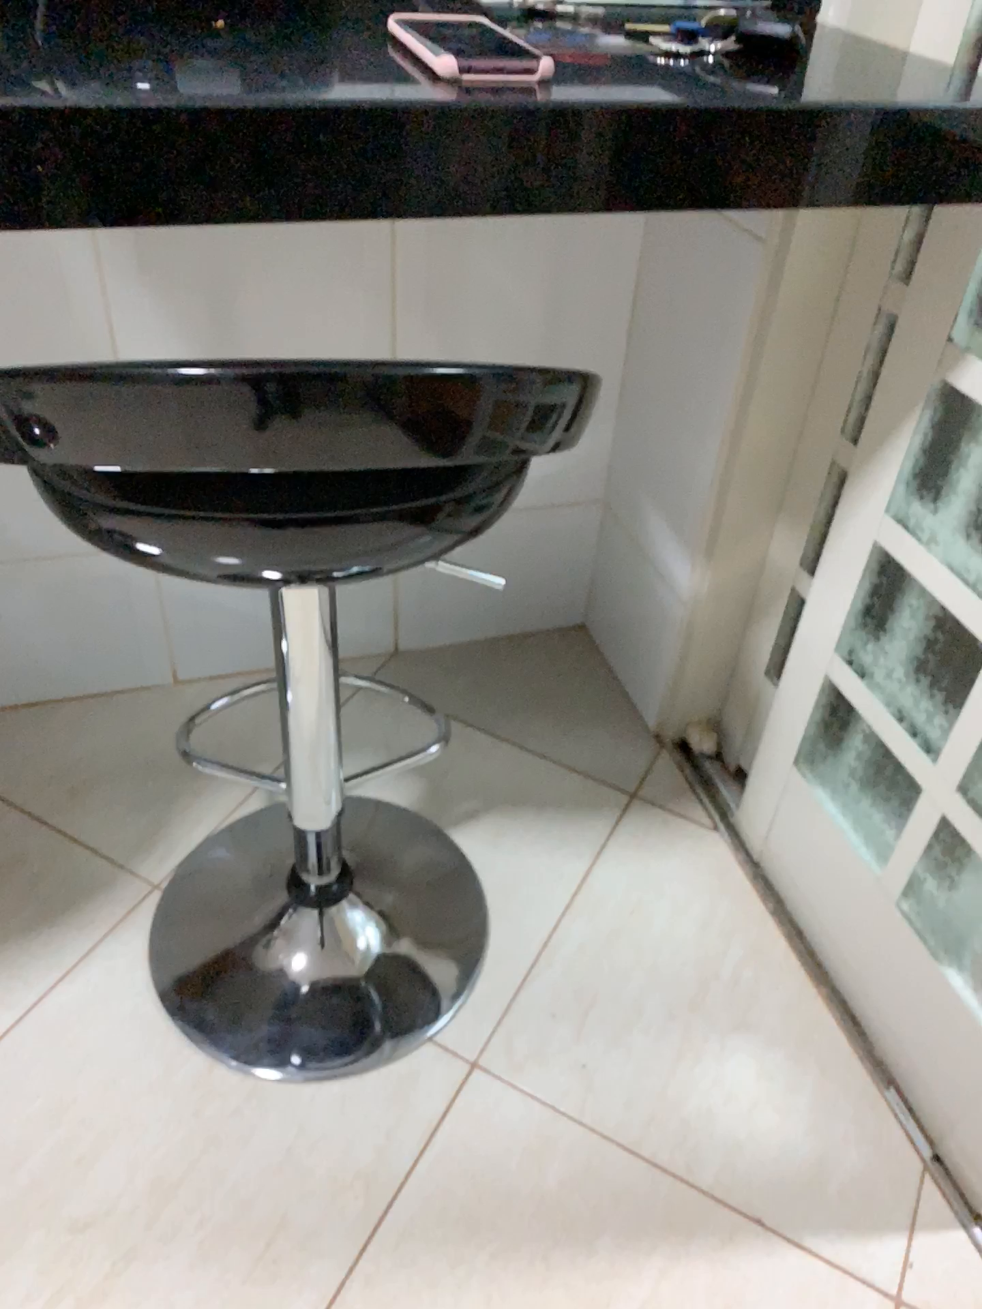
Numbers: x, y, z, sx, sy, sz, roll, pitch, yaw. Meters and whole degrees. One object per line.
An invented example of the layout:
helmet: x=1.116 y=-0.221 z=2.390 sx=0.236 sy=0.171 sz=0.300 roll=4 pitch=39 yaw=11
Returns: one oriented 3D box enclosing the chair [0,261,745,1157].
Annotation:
chair: x=-0.163 y=0.045 z=0.949 sx=0.520 sy=0.664 sz=0.444 roll=-5 pitch=39 yaw=-12
